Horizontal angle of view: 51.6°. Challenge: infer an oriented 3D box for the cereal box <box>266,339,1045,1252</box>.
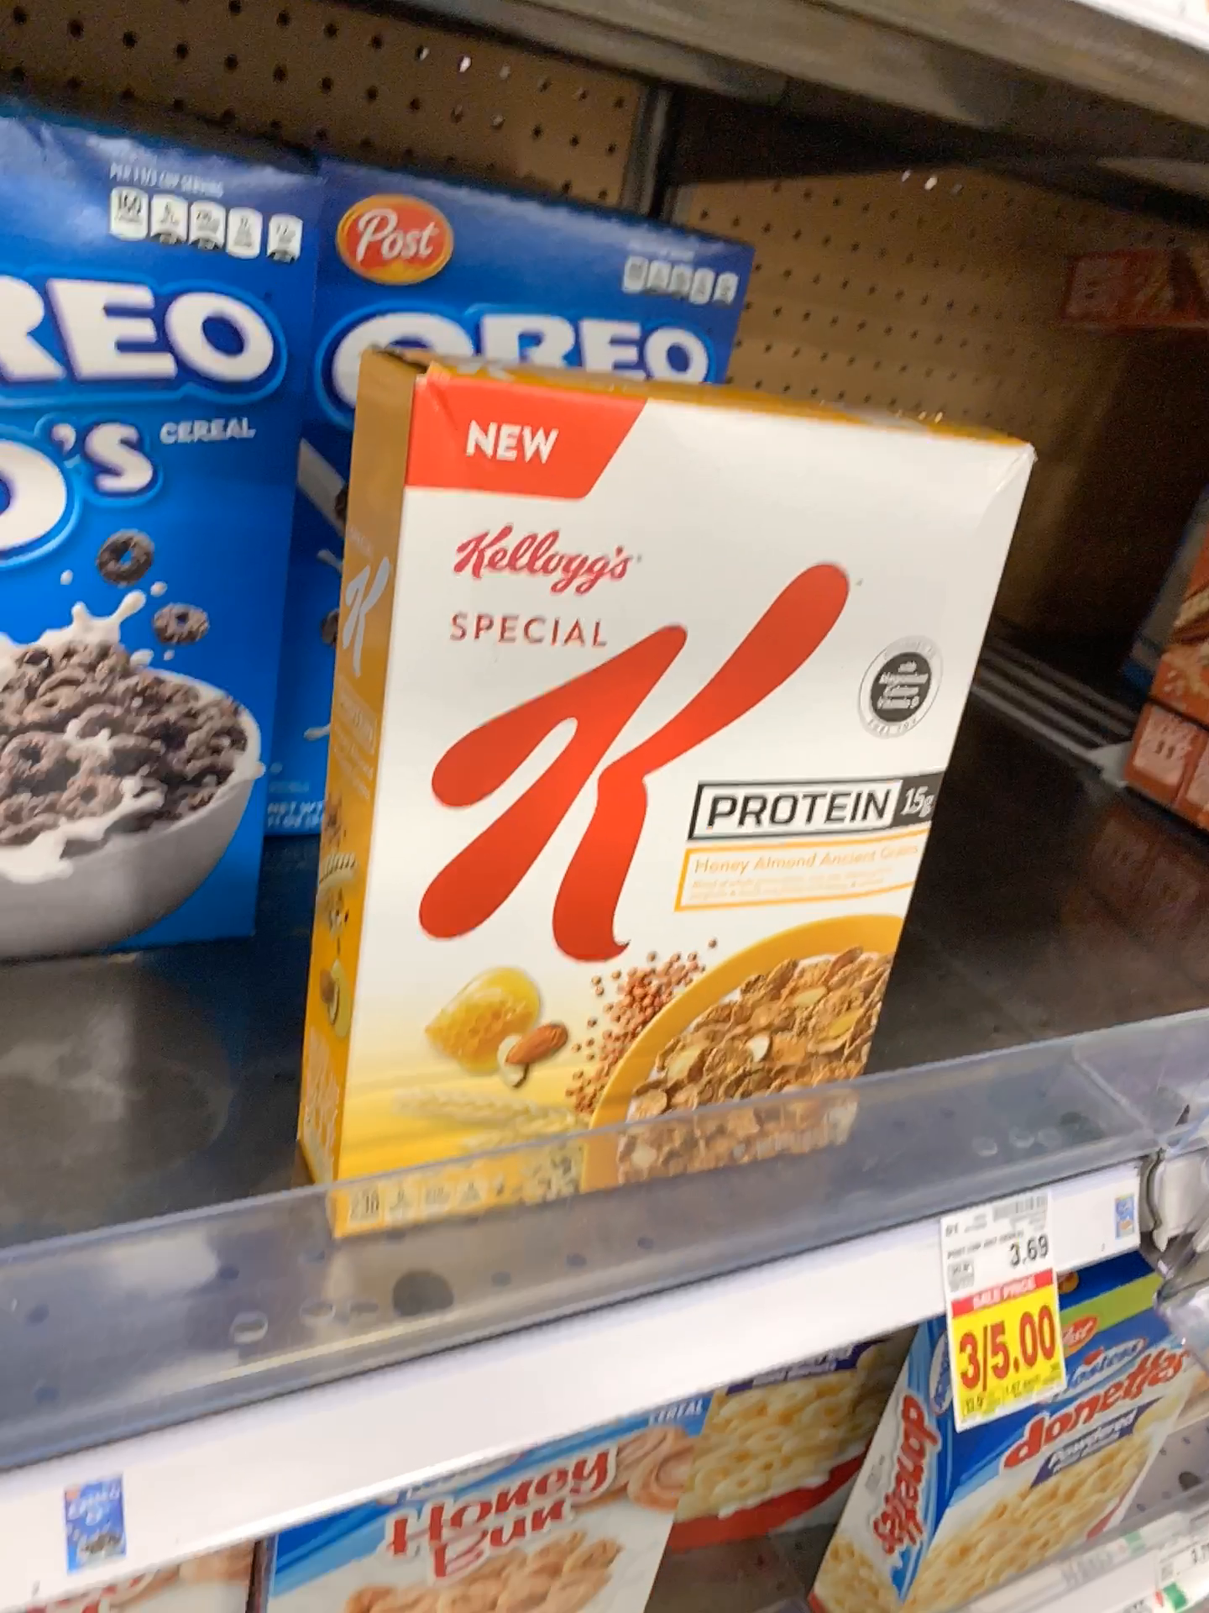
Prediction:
[{"bbox_3d":[0.009,0.004,0.379,0.200,0.249,0.040,-2,25,-26],"label":"cereal box"}]
